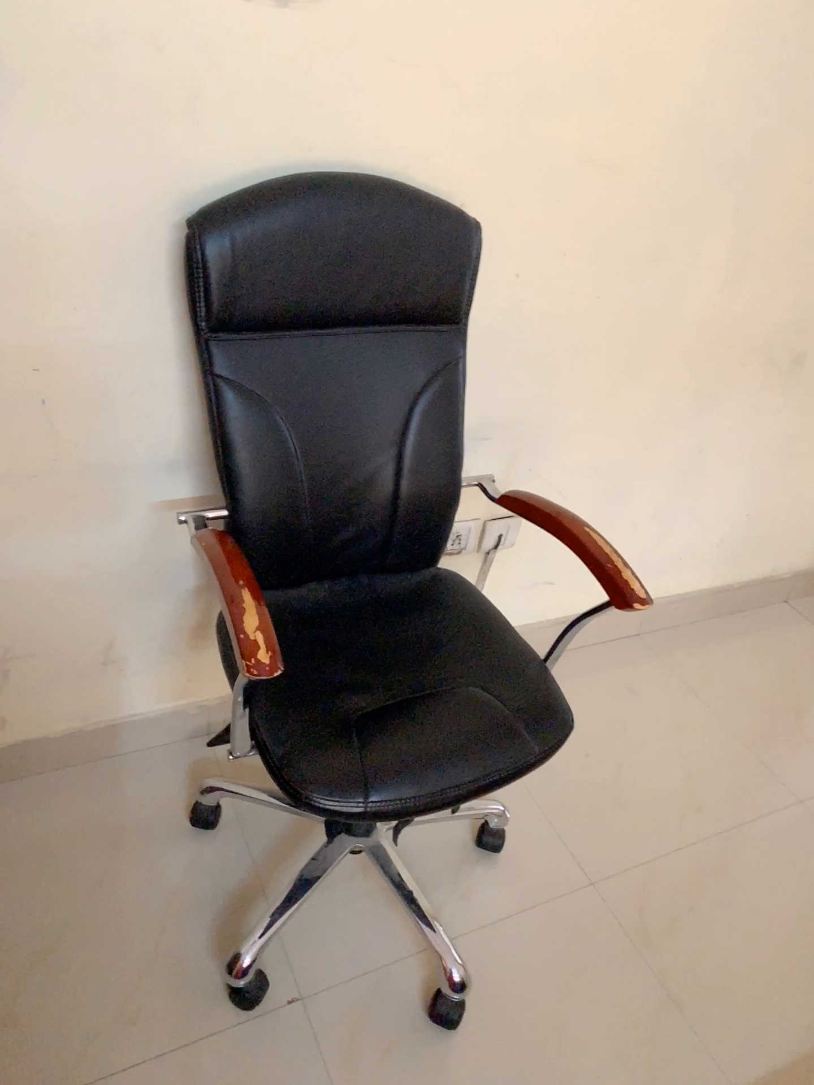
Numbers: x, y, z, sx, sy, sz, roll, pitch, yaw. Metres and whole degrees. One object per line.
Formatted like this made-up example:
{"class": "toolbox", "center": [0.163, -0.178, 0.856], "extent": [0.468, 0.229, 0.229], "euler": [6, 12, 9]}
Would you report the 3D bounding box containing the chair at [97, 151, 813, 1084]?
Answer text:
{"class": "chair", "center": [-0.023, 0.104, 1.255], "extent": [0.701, 1.081, 0.755], "euler": [-7, 37, -26]}
